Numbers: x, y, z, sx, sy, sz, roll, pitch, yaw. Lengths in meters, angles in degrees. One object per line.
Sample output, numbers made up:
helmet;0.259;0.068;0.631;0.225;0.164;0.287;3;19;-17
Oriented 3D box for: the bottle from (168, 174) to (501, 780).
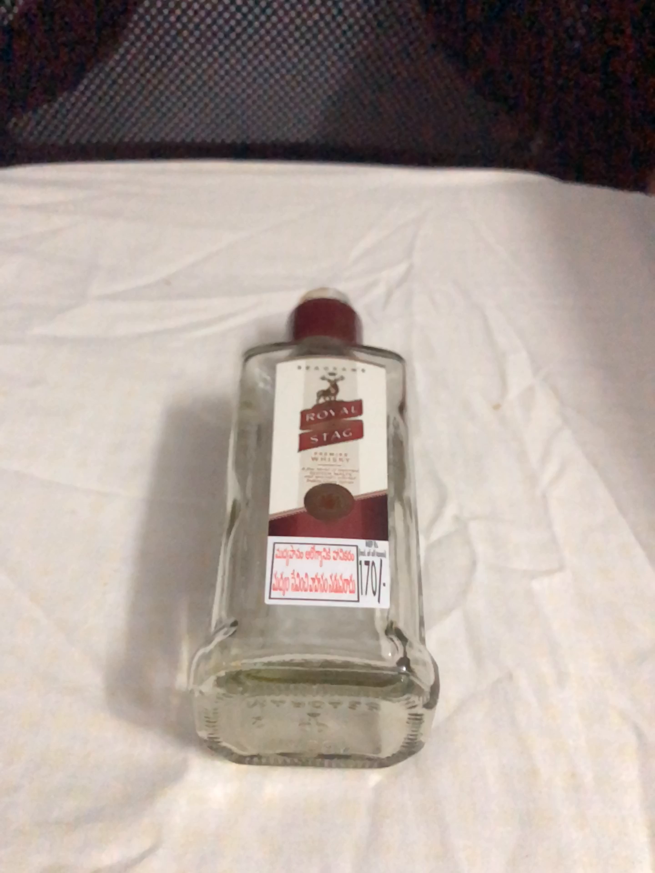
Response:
bottle;0.002;-0.006;0.213;0.060;0.050;0.181;4;47;-2
